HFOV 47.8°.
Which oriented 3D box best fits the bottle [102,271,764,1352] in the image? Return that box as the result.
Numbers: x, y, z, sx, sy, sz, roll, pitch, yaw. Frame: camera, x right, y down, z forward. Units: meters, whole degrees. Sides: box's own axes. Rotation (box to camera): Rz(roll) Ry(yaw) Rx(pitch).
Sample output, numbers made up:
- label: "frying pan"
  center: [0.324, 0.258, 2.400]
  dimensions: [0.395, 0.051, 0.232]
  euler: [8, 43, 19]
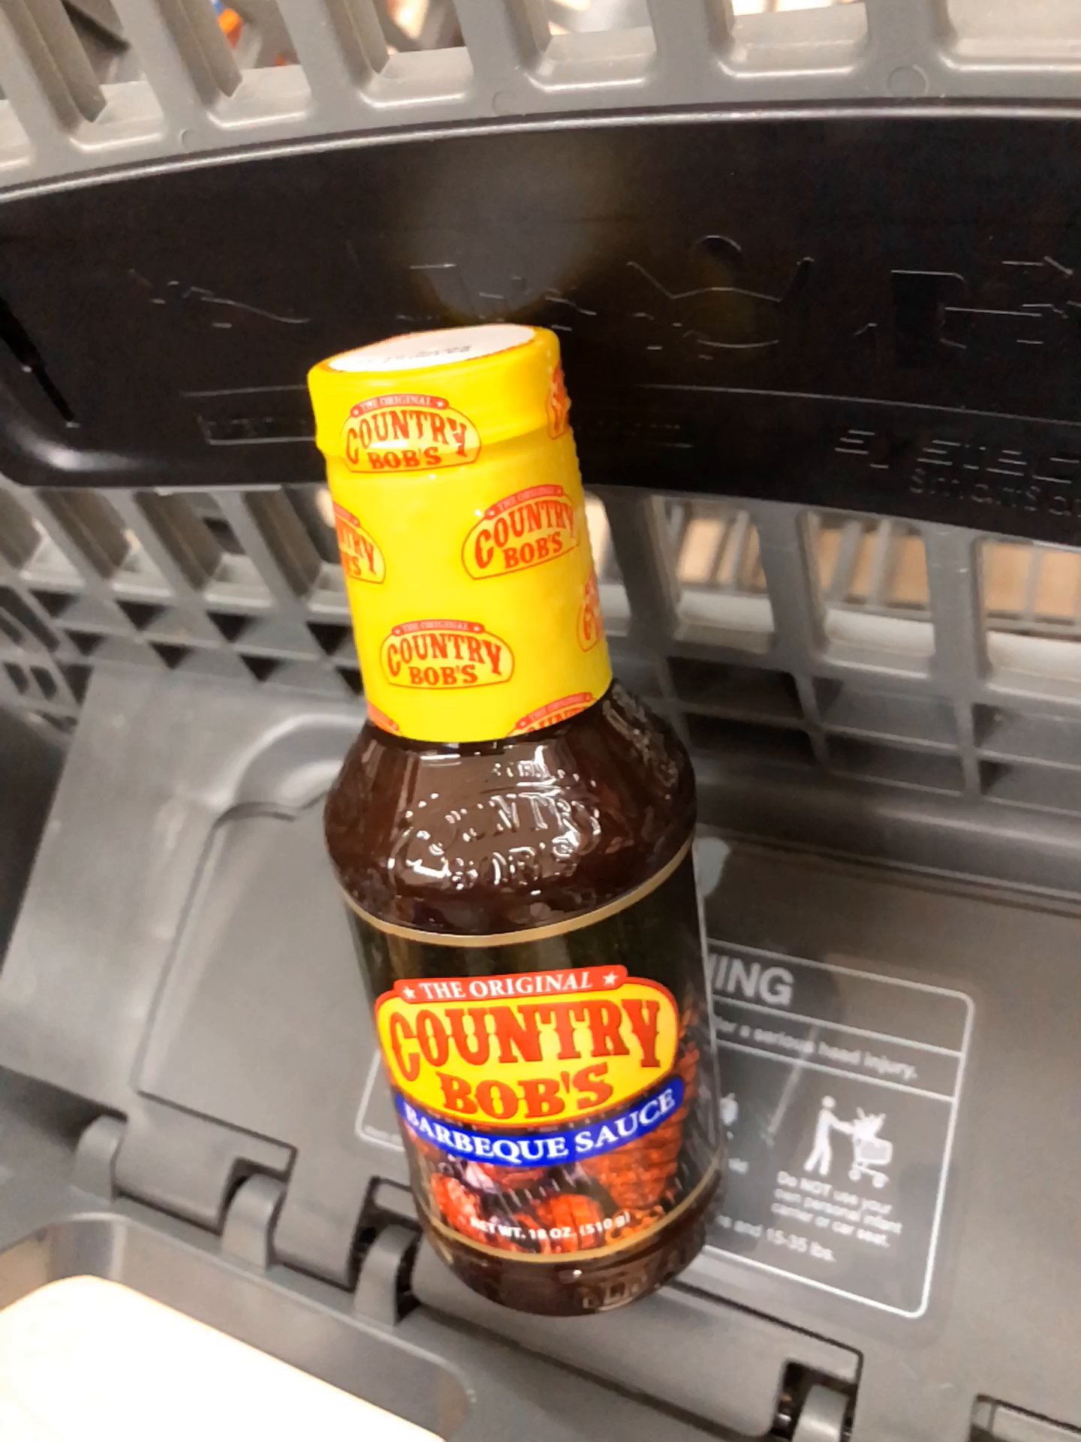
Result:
- label: "bottle"
  center: [-0.003, 0.015, 0.221]
  dimensions: [0.080, 0.080, 0.170]
  euler: [0, 114, 13]
